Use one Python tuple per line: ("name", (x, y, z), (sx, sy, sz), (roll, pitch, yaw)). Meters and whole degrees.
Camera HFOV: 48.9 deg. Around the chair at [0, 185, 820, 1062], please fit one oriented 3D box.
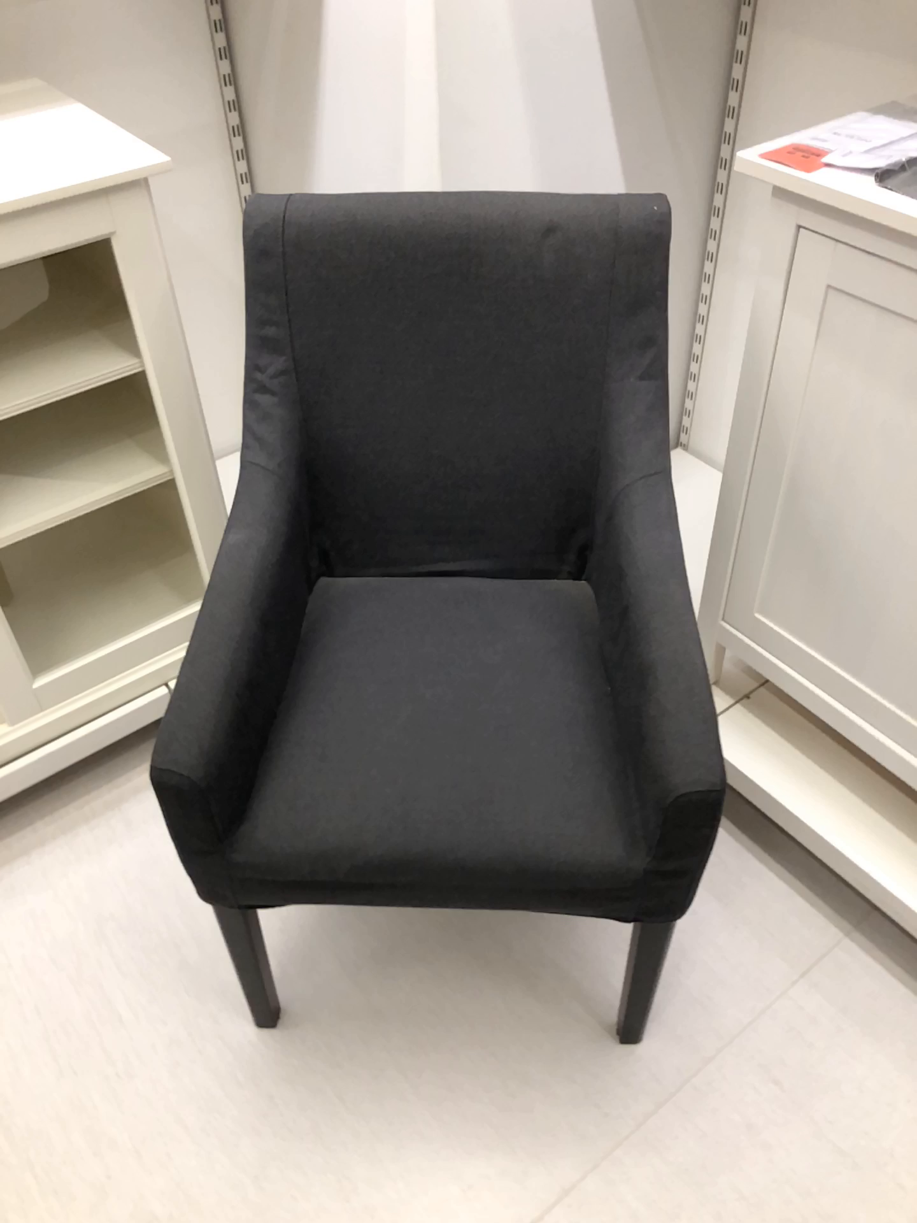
("chair", (-0.015, 0.035, 1.258), (0.610, 0.884, 0.624), (2, 42, 4))
